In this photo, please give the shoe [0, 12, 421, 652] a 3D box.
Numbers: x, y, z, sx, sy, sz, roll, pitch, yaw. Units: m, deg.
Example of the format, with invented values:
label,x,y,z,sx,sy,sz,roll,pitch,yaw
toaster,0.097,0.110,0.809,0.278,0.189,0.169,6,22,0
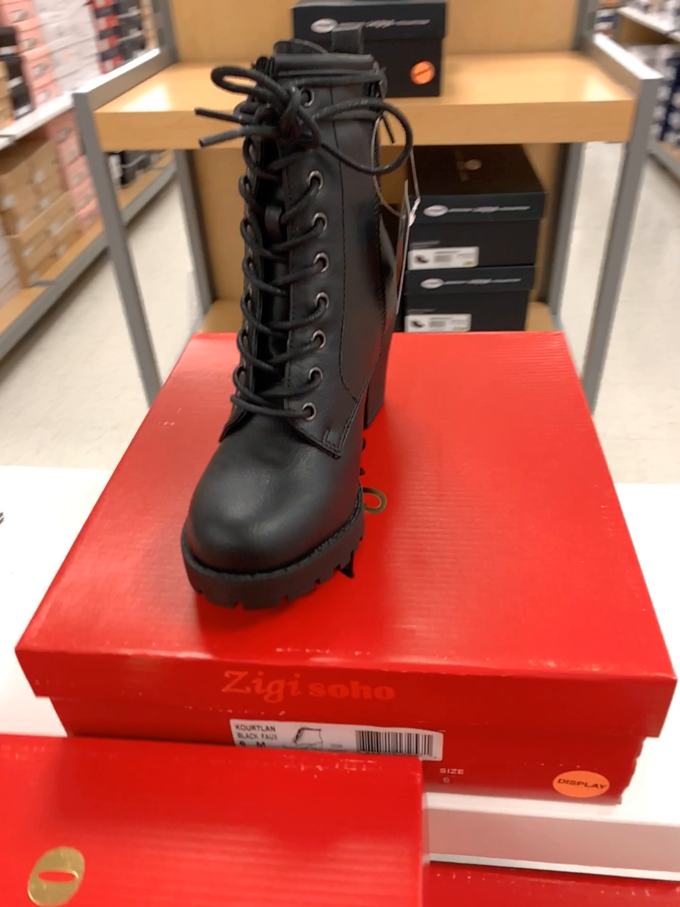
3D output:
label,x,y,z,sx,sy,sz,roll,pitch,yaw
shoe,-0.031,-0.066,0.312,0.092,0.203,0.202,8,39,15
